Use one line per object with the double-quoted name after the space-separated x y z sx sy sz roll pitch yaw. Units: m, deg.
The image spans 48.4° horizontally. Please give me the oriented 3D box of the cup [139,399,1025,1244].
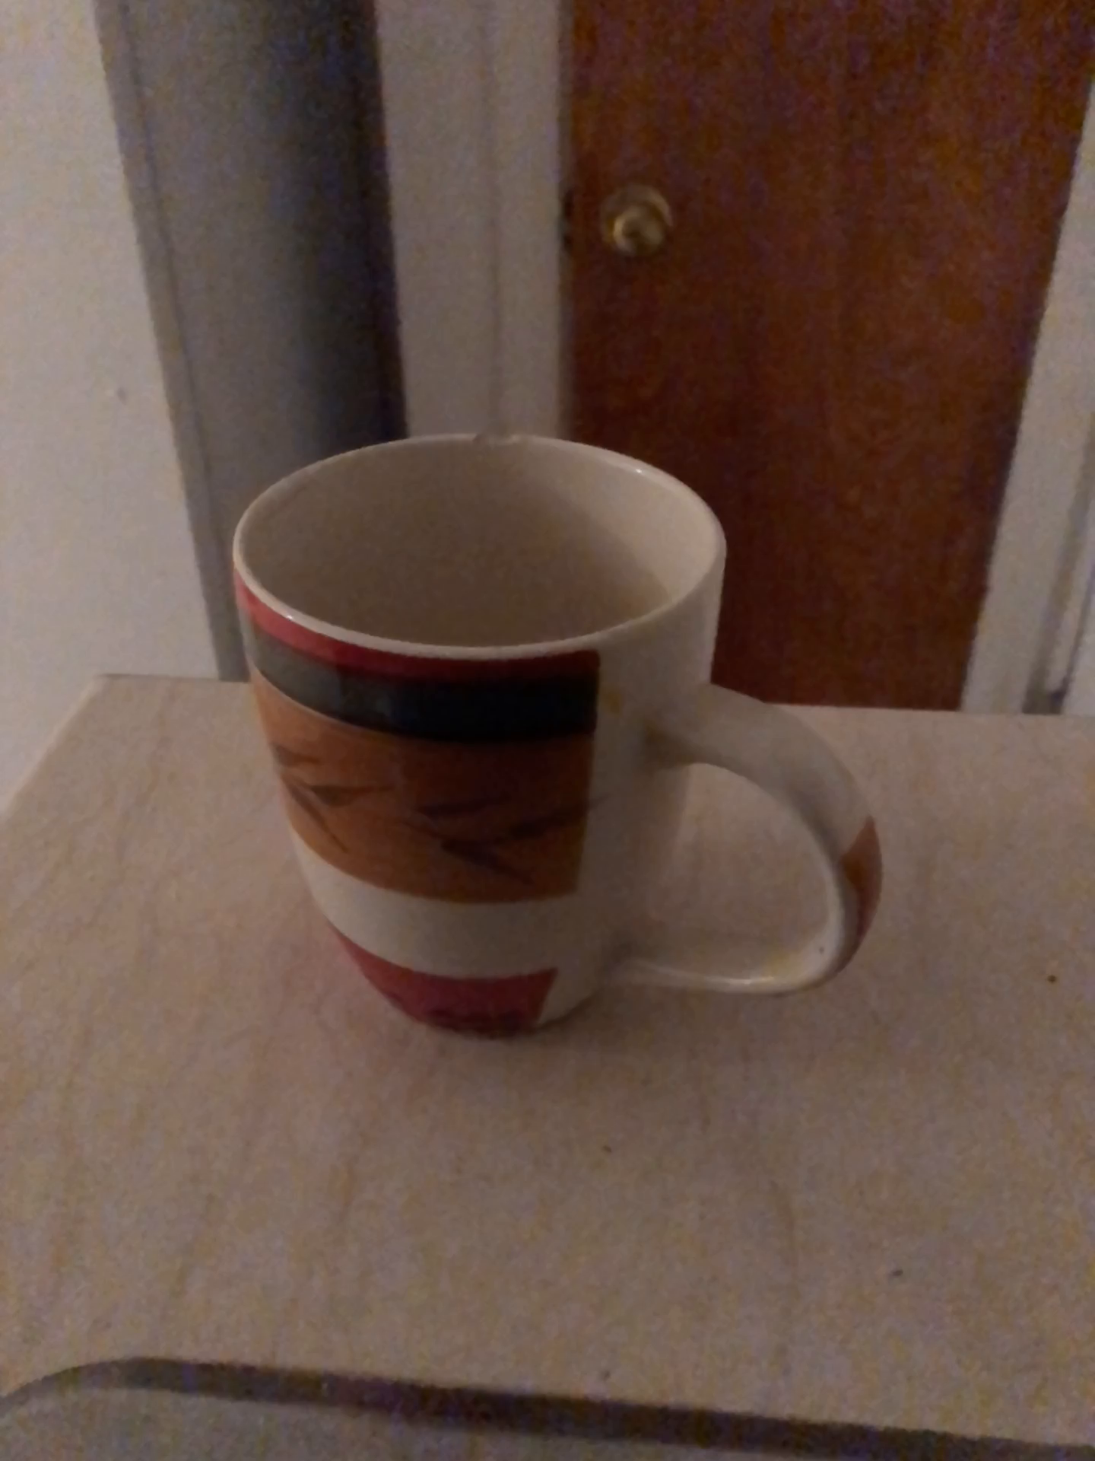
0.008 0.007 0.269 0.143 0.109 0.101 19 38 26 "cup"
